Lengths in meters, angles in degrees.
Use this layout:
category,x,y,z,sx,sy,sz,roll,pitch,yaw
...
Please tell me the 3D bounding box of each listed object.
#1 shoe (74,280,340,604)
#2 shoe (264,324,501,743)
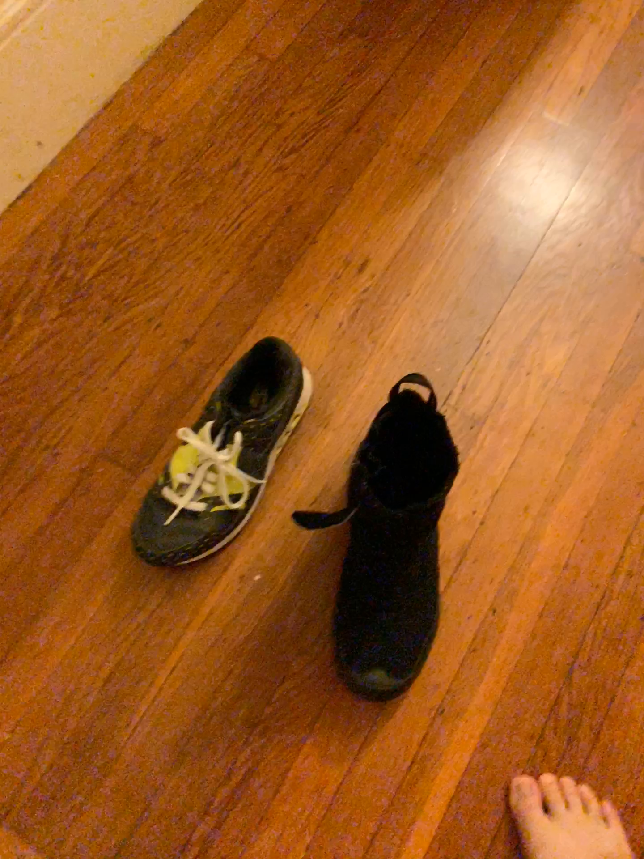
category,x,y,z,sx,sy,sz,roll,pitch,yaw
shoe,-0.103,0.011,0.670,0.120,0.100,0.290,26,72,7
shoe,0.052,0.104,0.628,0.160,0.240,0.310,7,71,0
